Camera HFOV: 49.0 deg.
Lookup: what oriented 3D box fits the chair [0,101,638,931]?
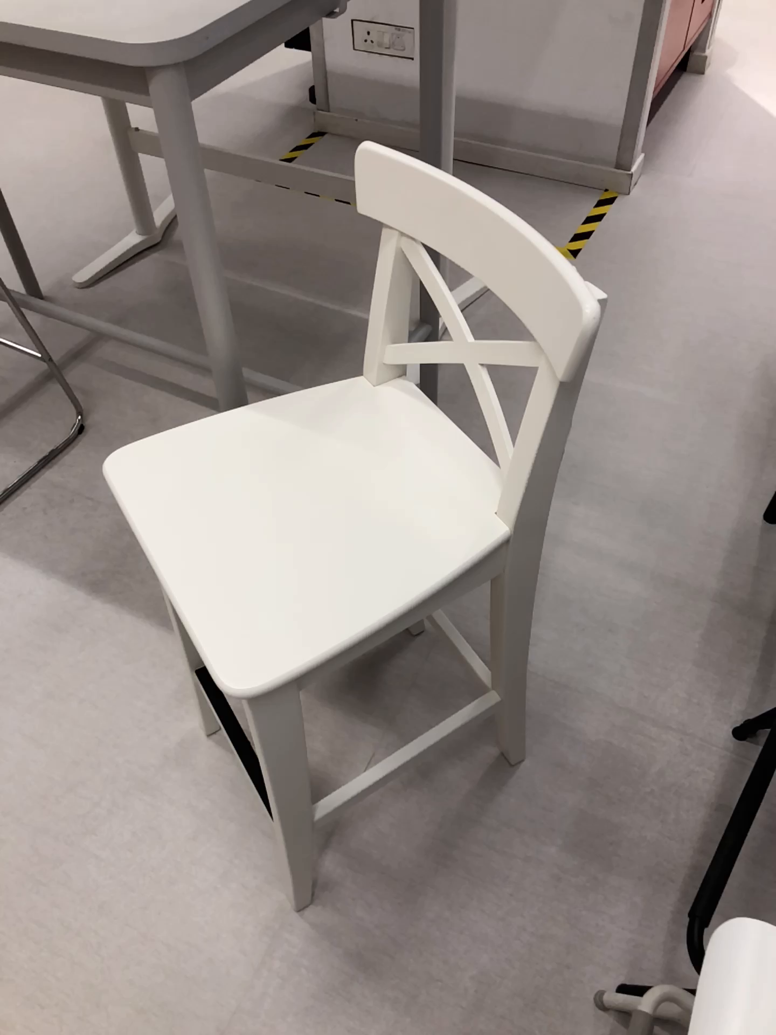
[{"bbox_3d":[-0.082,0.054,1.019,0.421,0.835,0.422,-25,51,-19],"label":"chair"}]
